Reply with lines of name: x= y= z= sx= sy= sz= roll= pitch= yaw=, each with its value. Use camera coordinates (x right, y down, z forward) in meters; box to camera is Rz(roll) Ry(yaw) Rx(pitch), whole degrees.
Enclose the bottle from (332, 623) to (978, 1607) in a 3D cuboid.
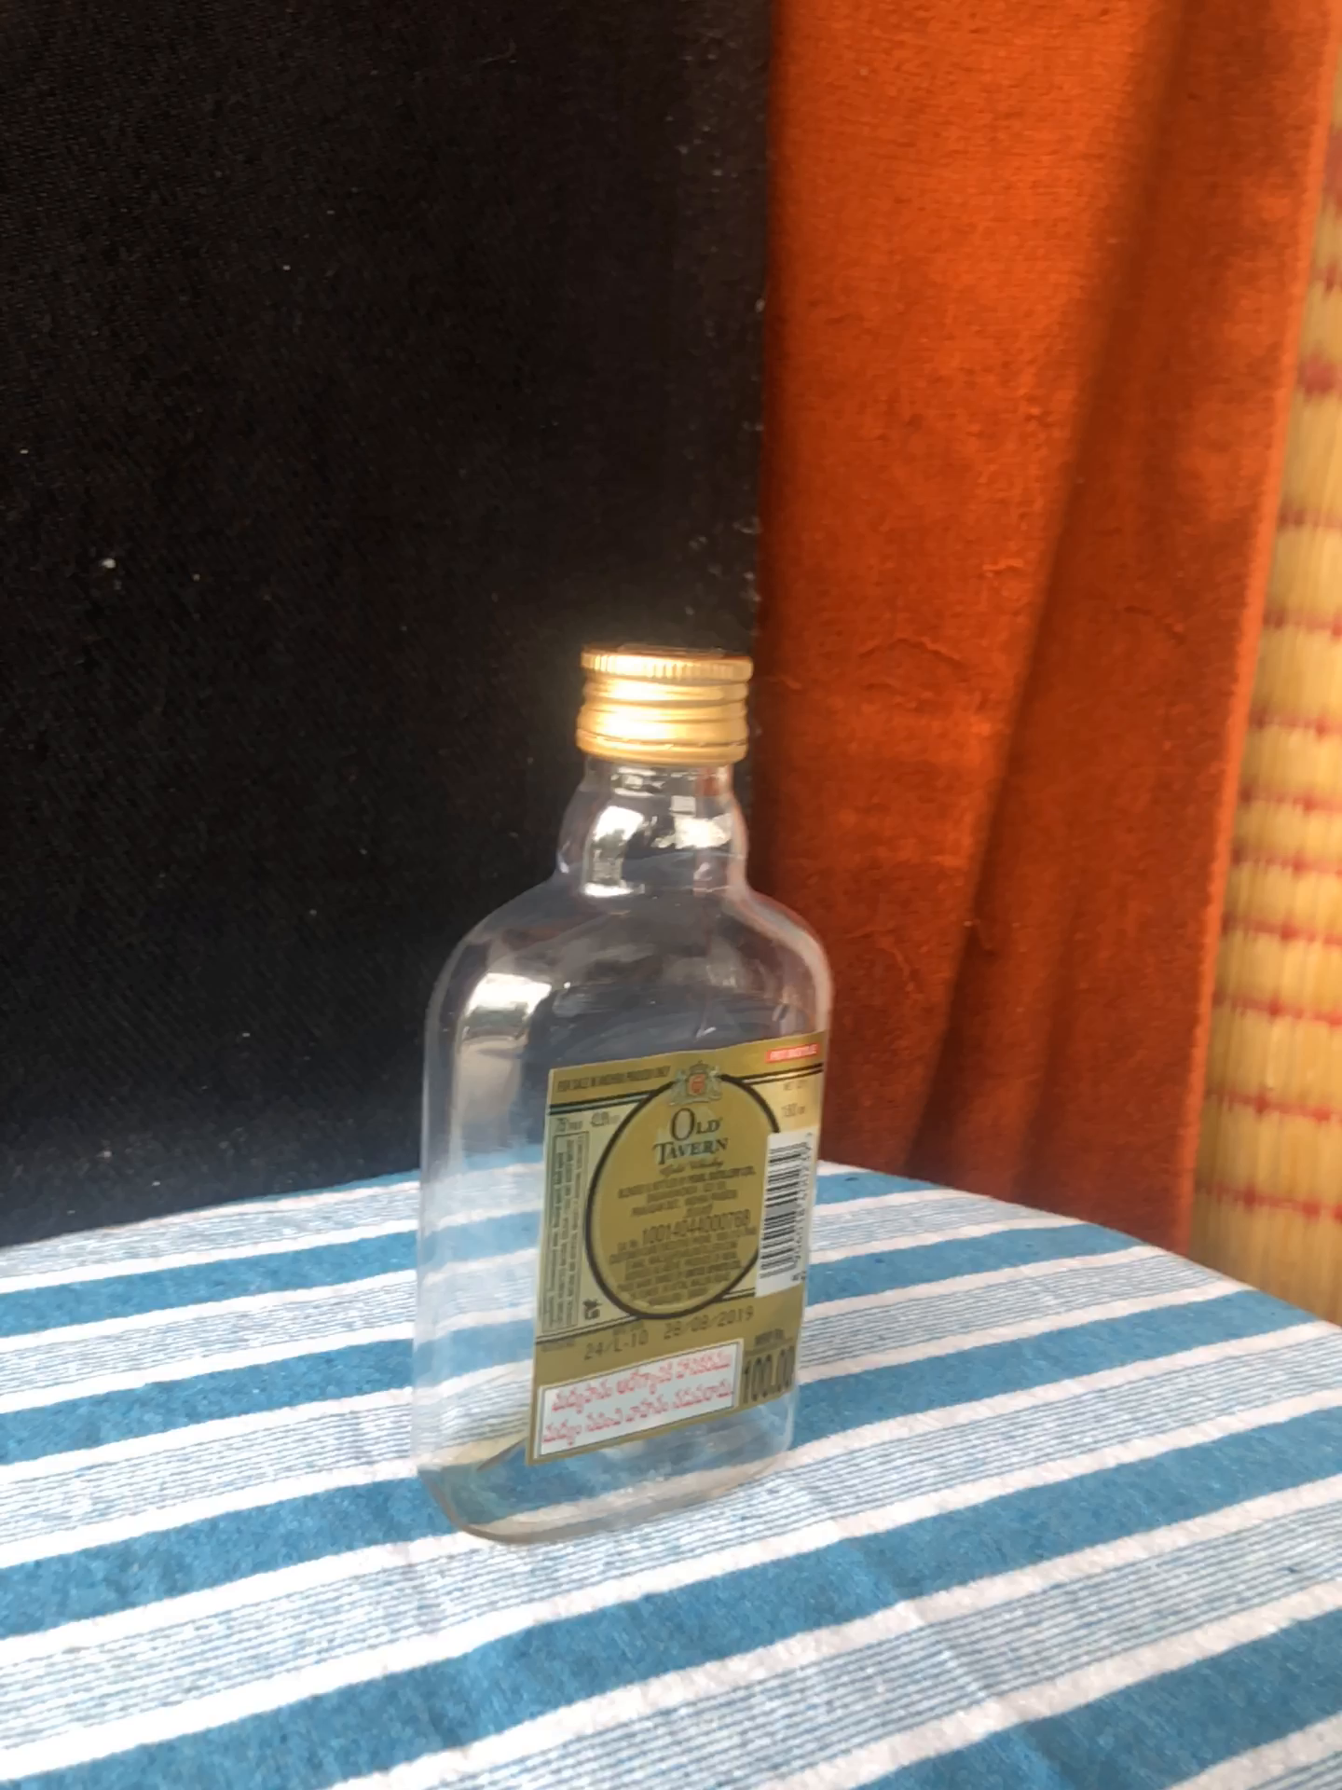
bottle: x=-0.005 y=0.031 z=0.243 sx=0.080 sy=0.140 sz=0.040 roll=-1 pitch=15 yaw=-32
